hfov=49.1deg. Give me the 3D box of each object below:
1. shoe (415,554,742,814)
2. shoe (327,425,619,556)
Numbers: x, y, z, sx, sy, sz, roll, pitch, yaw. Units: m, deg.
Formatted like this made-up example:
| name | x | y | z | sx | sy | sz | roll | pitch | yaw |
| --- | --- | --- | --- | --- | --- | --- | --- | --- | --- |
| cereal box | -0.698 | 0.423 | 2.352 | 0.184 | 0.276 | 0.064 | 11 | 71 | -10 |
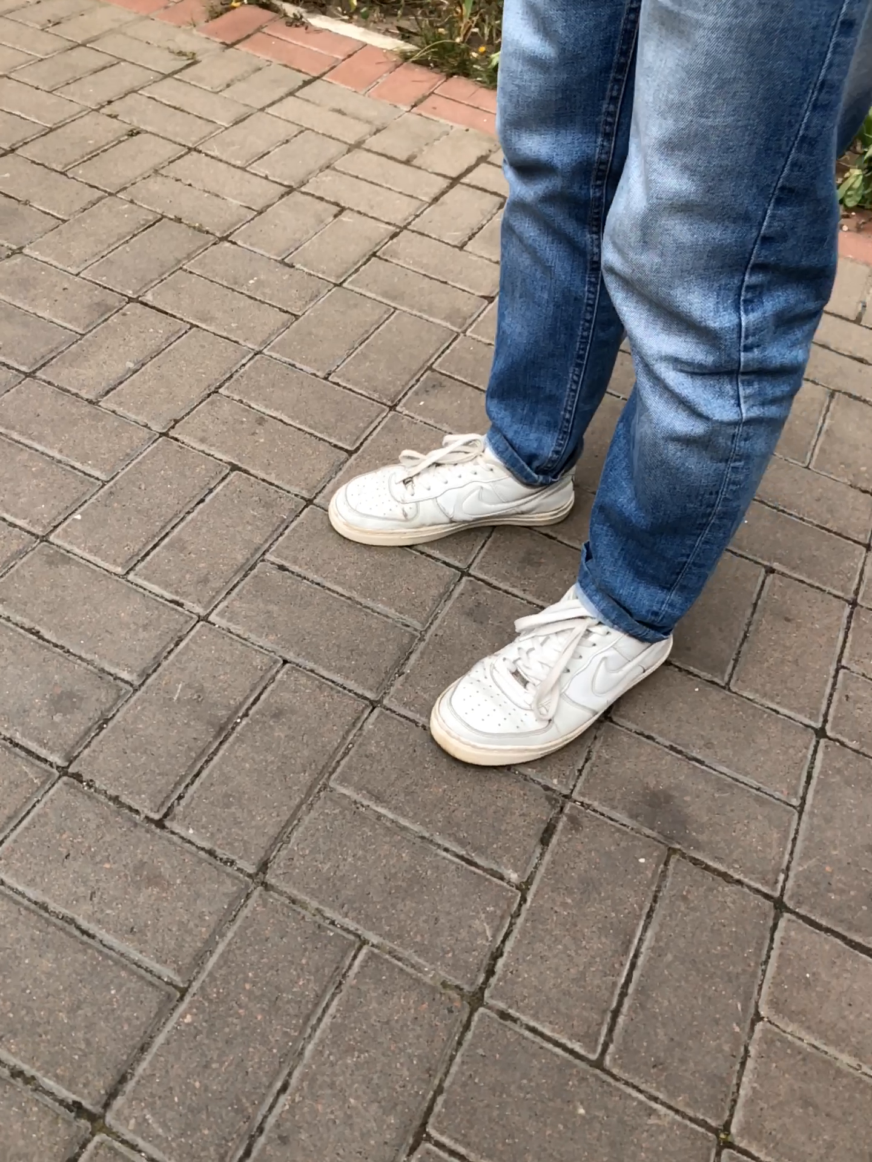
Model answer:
| name | x | y | z | sx | sy | sz | roll | pitch | yaw |
| --- | --- | --- | --- | --- | --- | --- | --- | --- | --- |
| shoe | 0.138 | 0.088 | 0.905 | 0.301 | 0.069 | 0.110 | -25 | 56 | -27 |
| shoe | 0.036 | -0.103 | 1.059 | 0.300 | 0.069 | 0.121 | -3 | 49 | -11 |
